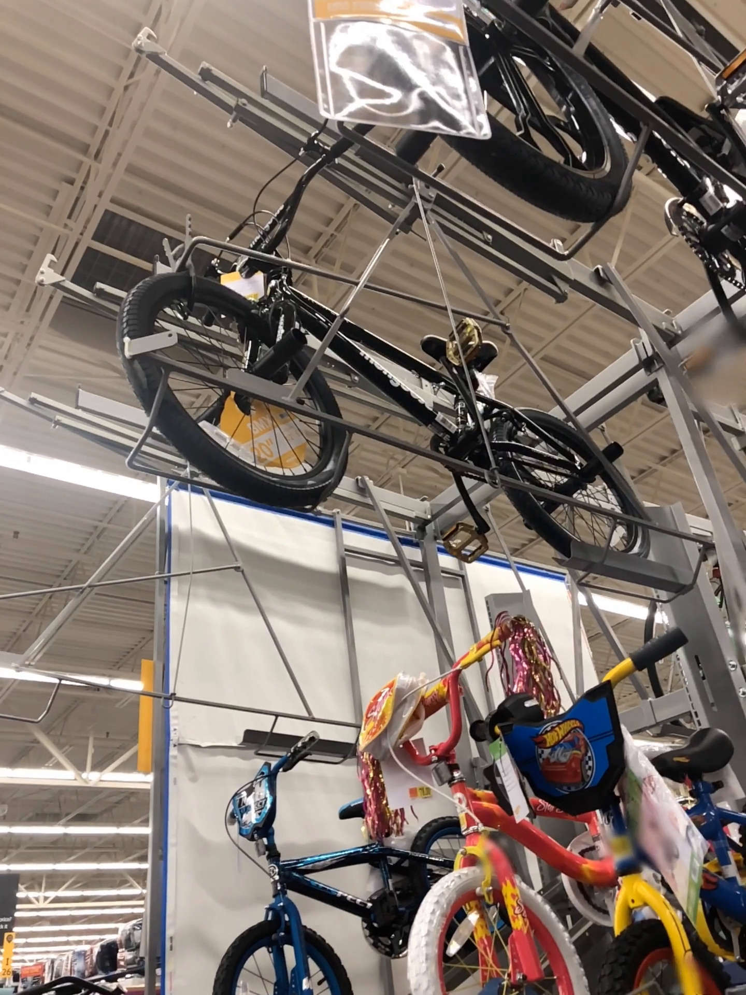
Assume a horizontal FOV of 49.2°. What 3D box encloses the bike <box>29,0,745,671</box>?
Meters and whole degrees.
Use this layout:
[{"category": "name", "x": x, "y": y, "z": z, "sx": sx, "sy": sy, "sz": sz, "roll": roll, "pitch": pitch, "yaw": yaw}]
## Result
[{"category": "bike", "x": 0.072, "y": -0.240, "z": 1.857, "sx": 1.350, "sy": 0.910, "sz": 0.751, "roll": 15, "pitch": -38, "yaw": -32}]
